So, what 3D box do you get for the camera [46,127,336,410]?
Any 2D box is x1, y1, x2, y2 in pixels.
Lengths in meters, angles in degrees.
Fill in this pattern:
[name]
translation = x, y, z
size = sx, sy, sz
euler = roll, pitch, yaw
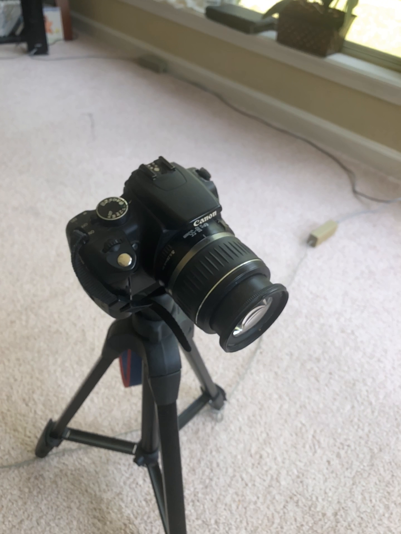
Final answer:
[camera]
translation = -0.010, -0.007, 0.331
size = 0.130, 0.093, 0.142
euler = -33, 61, -27
